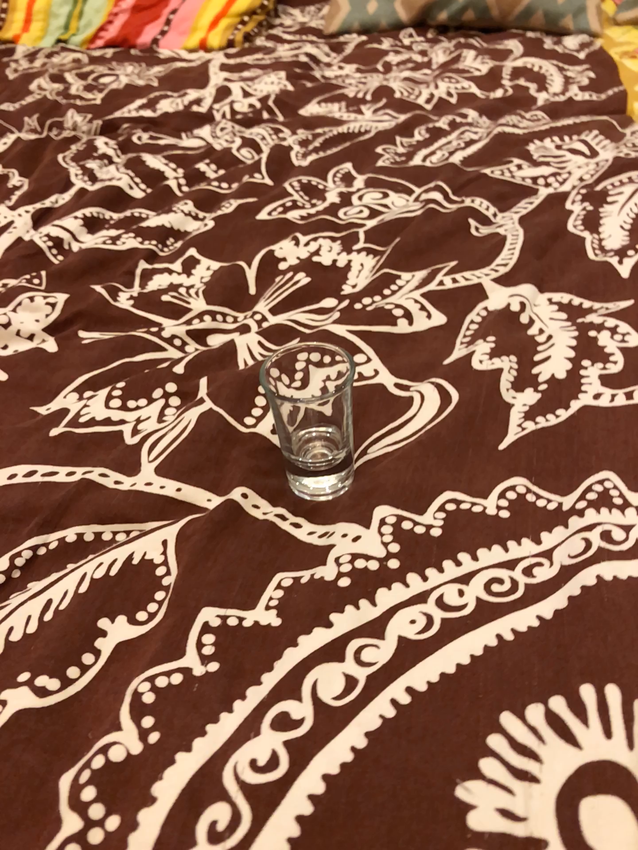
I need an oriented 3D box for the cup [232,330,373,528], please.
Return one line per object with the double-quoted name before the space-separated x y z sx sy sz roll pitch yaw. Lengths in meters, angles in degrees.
"cup" -0.005 0.002 0.329 0.045 0.069 0.042 -2 43 2
